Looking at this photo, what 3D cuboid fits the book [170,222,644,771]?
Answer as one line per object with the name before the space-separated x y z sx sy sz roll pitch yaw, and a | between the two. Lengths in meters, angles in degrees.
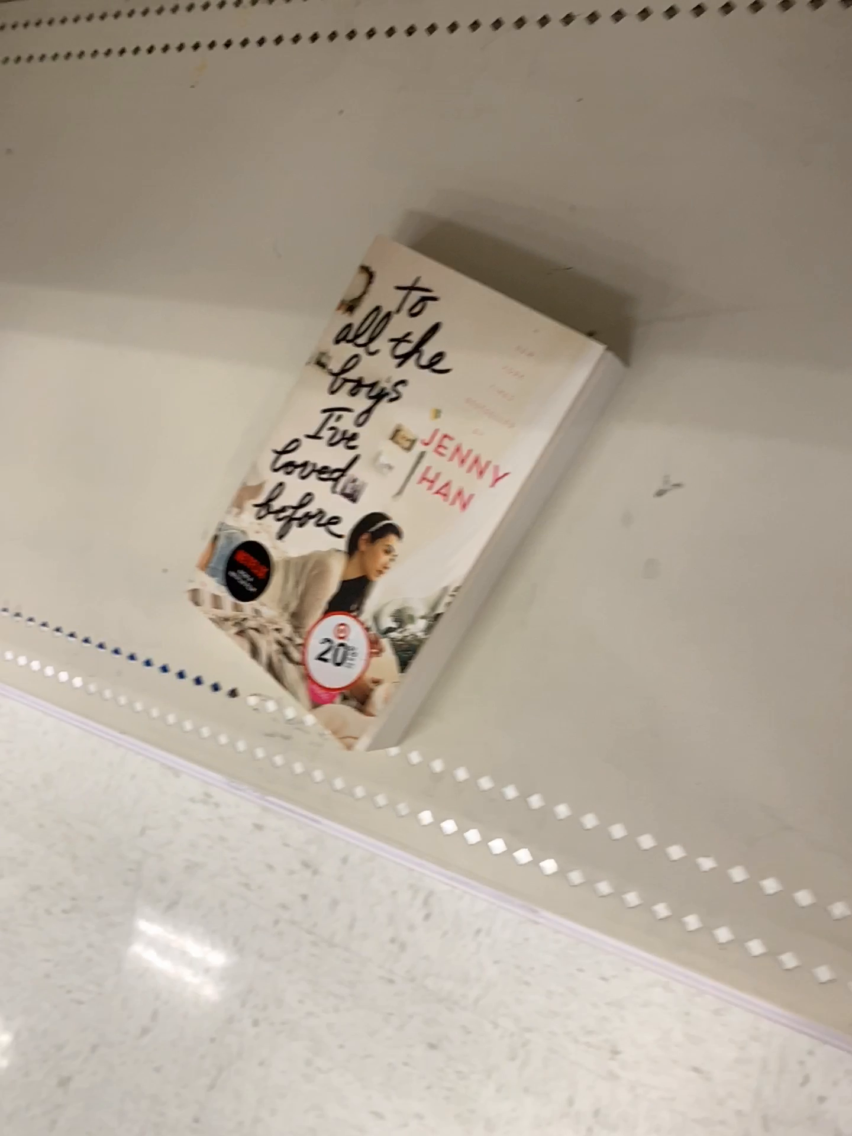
book | -0.018 -0.035 0.421 0.144 0.034 0.213 35 101 25
